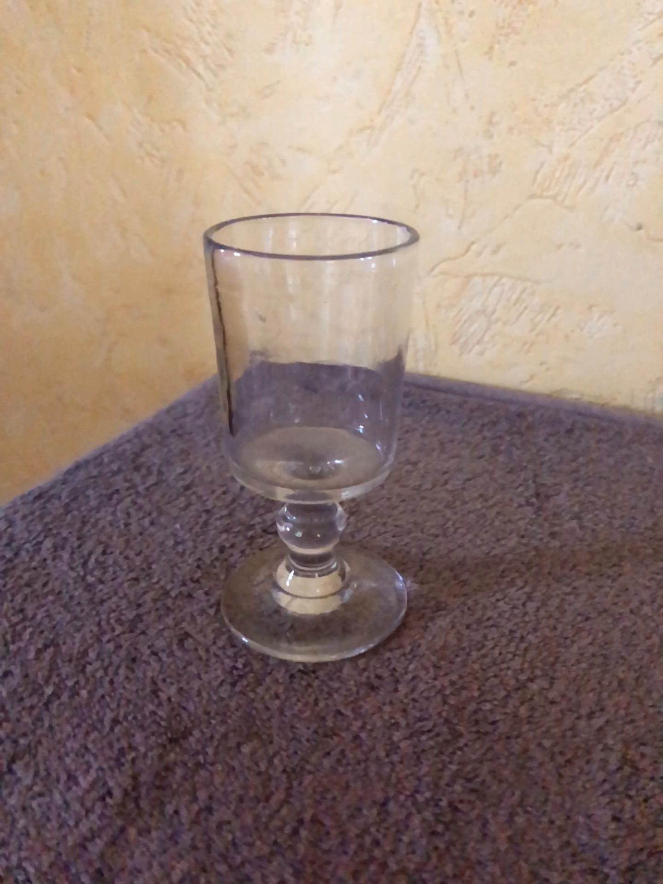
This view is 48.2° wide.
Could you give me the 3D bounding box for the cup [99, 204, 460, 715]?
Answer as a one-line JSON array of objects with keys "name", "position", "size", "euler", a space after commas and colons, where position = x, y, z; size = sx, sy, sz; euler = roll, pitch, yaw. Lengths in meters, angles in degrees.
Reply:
[{"name": "cup", "position": [-0.012, 0.000, 0.199], "size": [0.060, 0.109, 0.060], "euler": [0, 27, 0]}]
